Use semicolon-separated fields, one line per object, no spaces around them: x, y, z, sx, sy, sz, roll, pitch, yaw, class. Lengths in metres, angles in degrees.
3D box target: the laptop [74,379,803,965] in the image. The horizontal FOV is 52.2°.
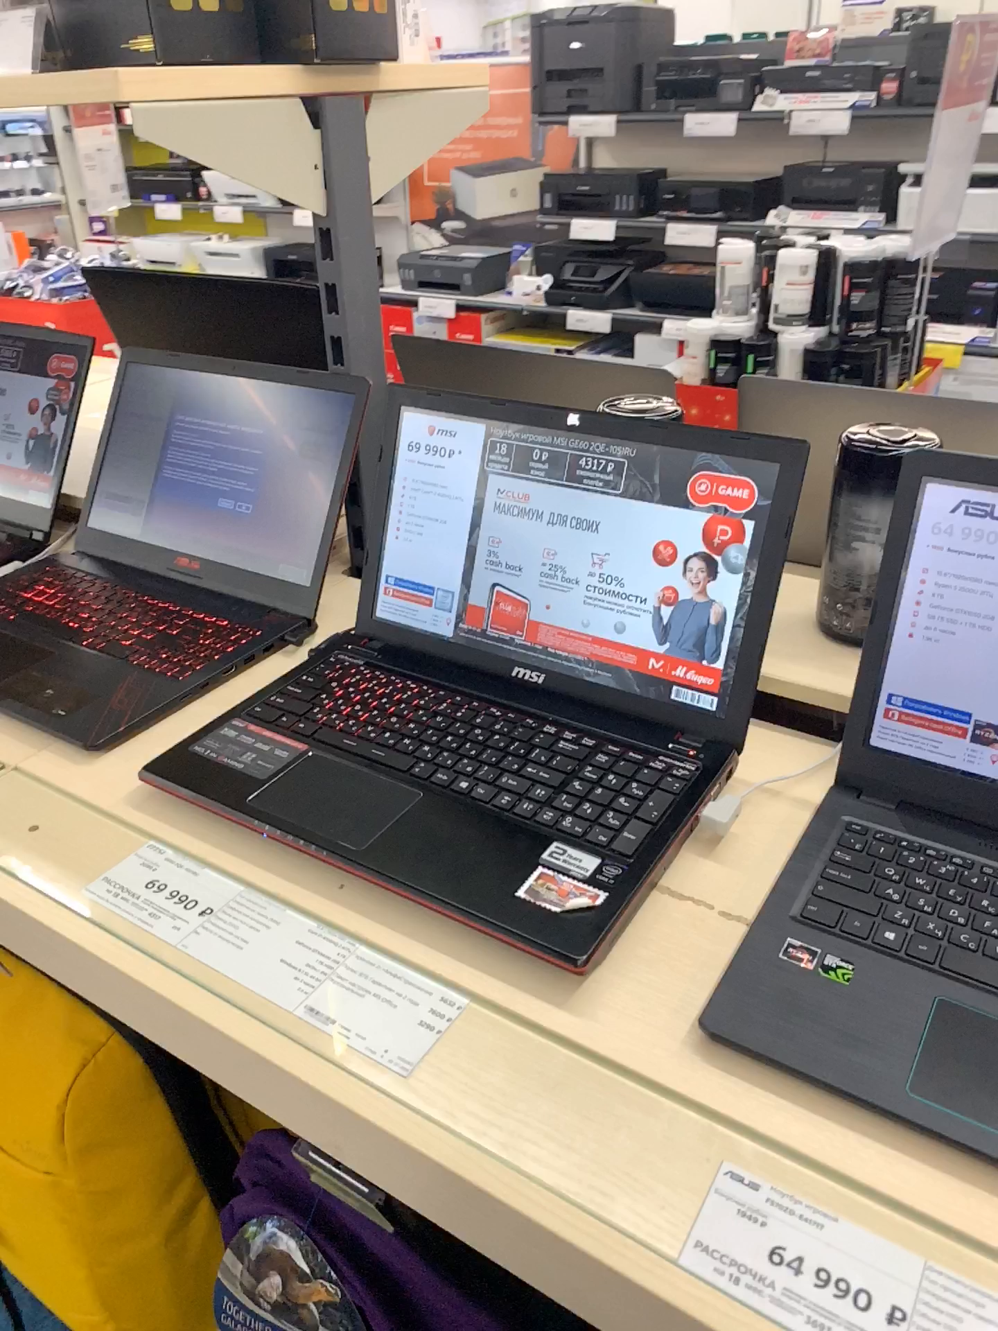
-0.026;-0.039;0.702;0.356;0.197;0.313;16;35;29;laptop
